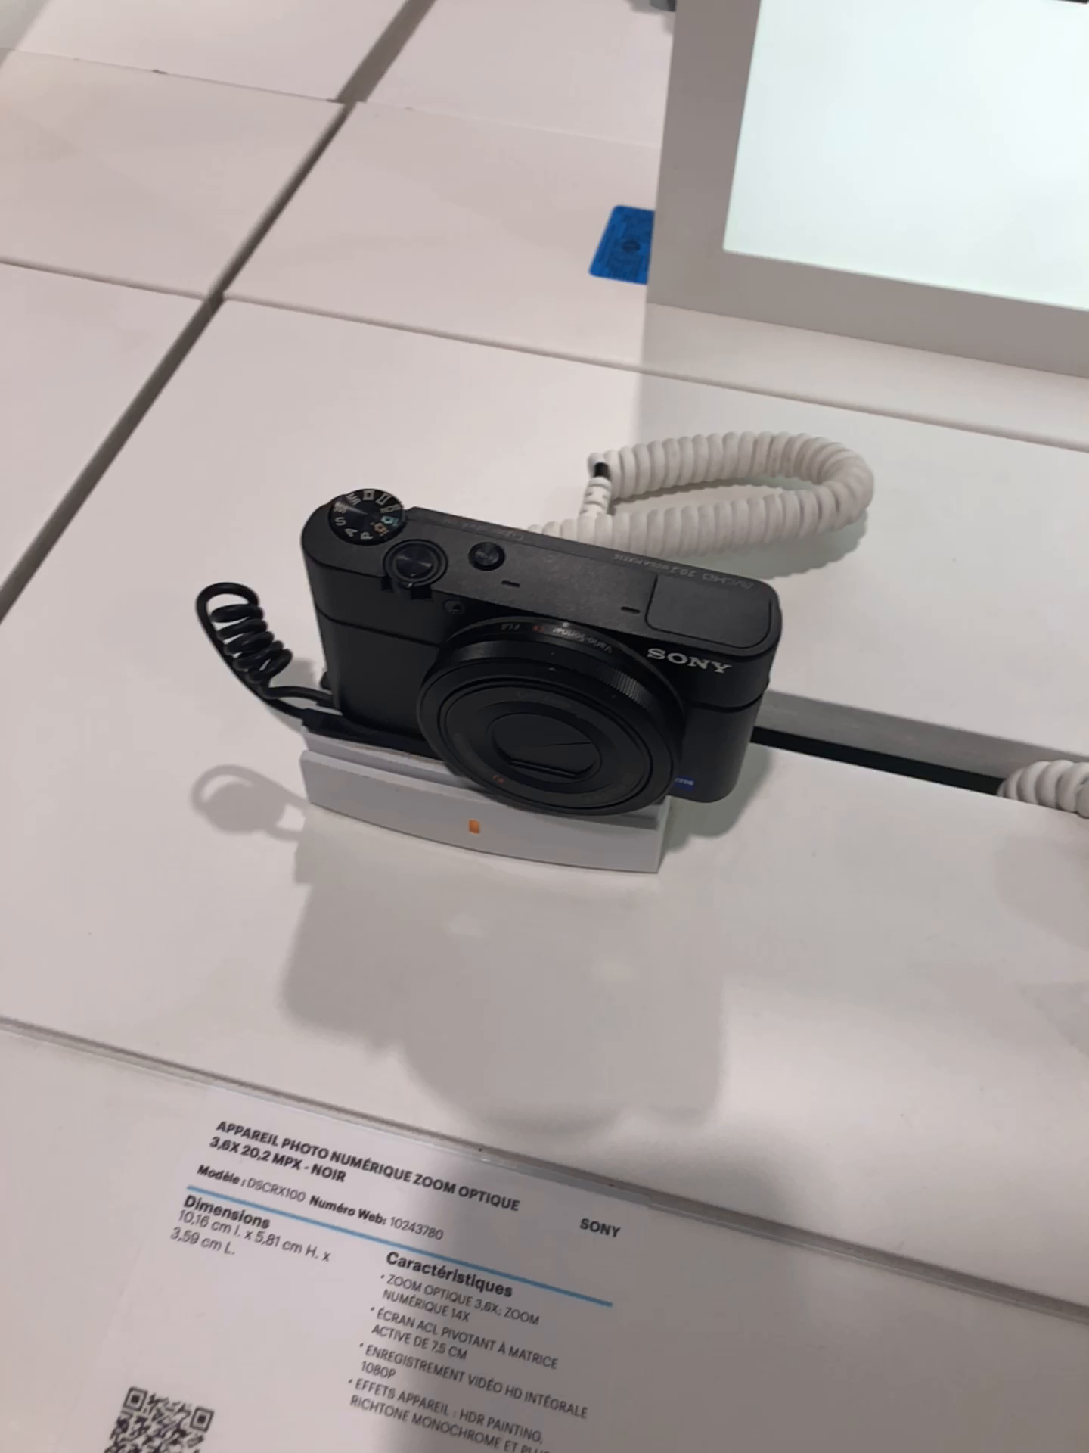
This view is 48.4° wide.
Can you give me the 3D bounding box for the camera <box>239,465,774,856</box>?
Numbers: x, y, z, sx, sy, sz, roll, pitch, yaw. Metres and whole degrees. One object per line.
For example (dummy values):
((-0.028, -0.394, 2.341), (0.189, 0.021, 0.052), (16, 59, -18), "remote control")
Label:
((-0.008, -0.014, 0.262), (0.100, 0.056, 0.036), (13, 53, 9), "camera")
